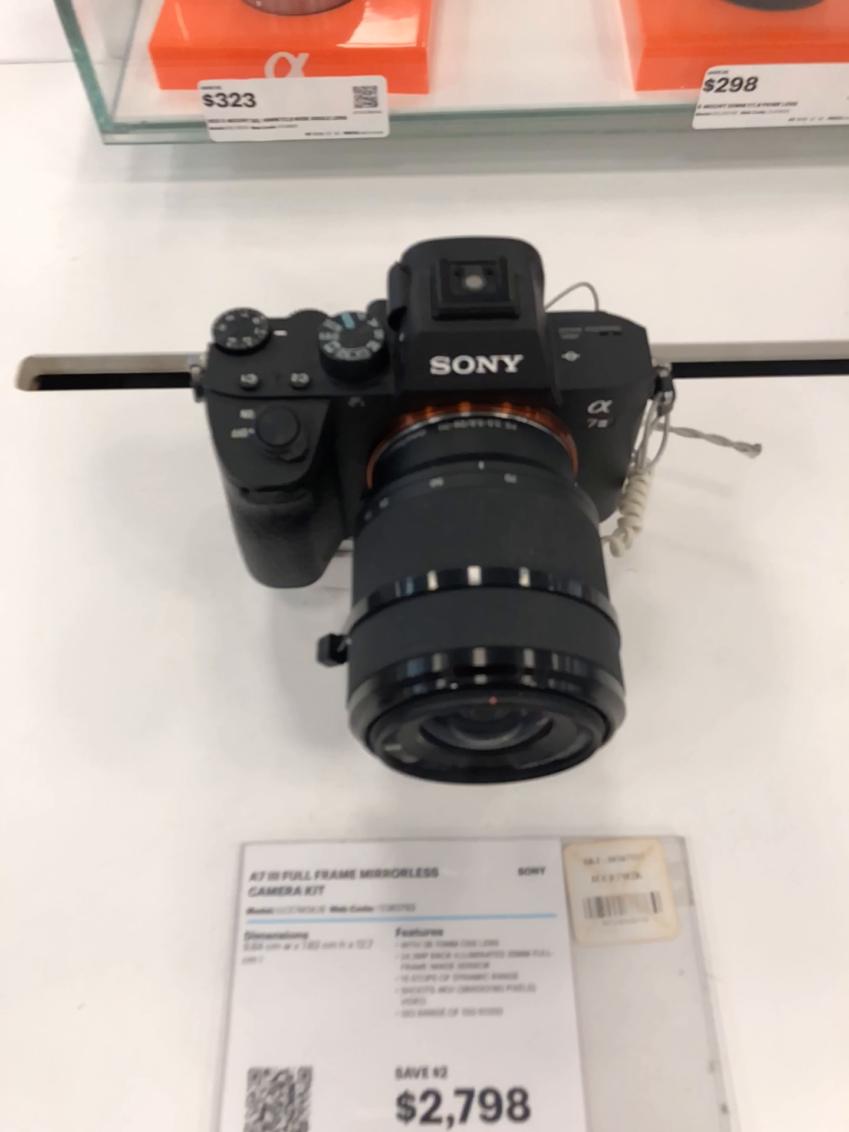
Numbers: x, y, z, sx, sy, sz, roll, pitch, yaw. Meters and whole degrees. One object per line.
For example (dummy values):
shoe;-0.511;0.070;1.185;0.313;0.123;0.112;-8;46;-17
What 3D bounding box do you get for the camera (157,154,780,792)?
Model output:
camera;0.010;-0.027;0.281;0.130;0.100;0.160;0;59;1
